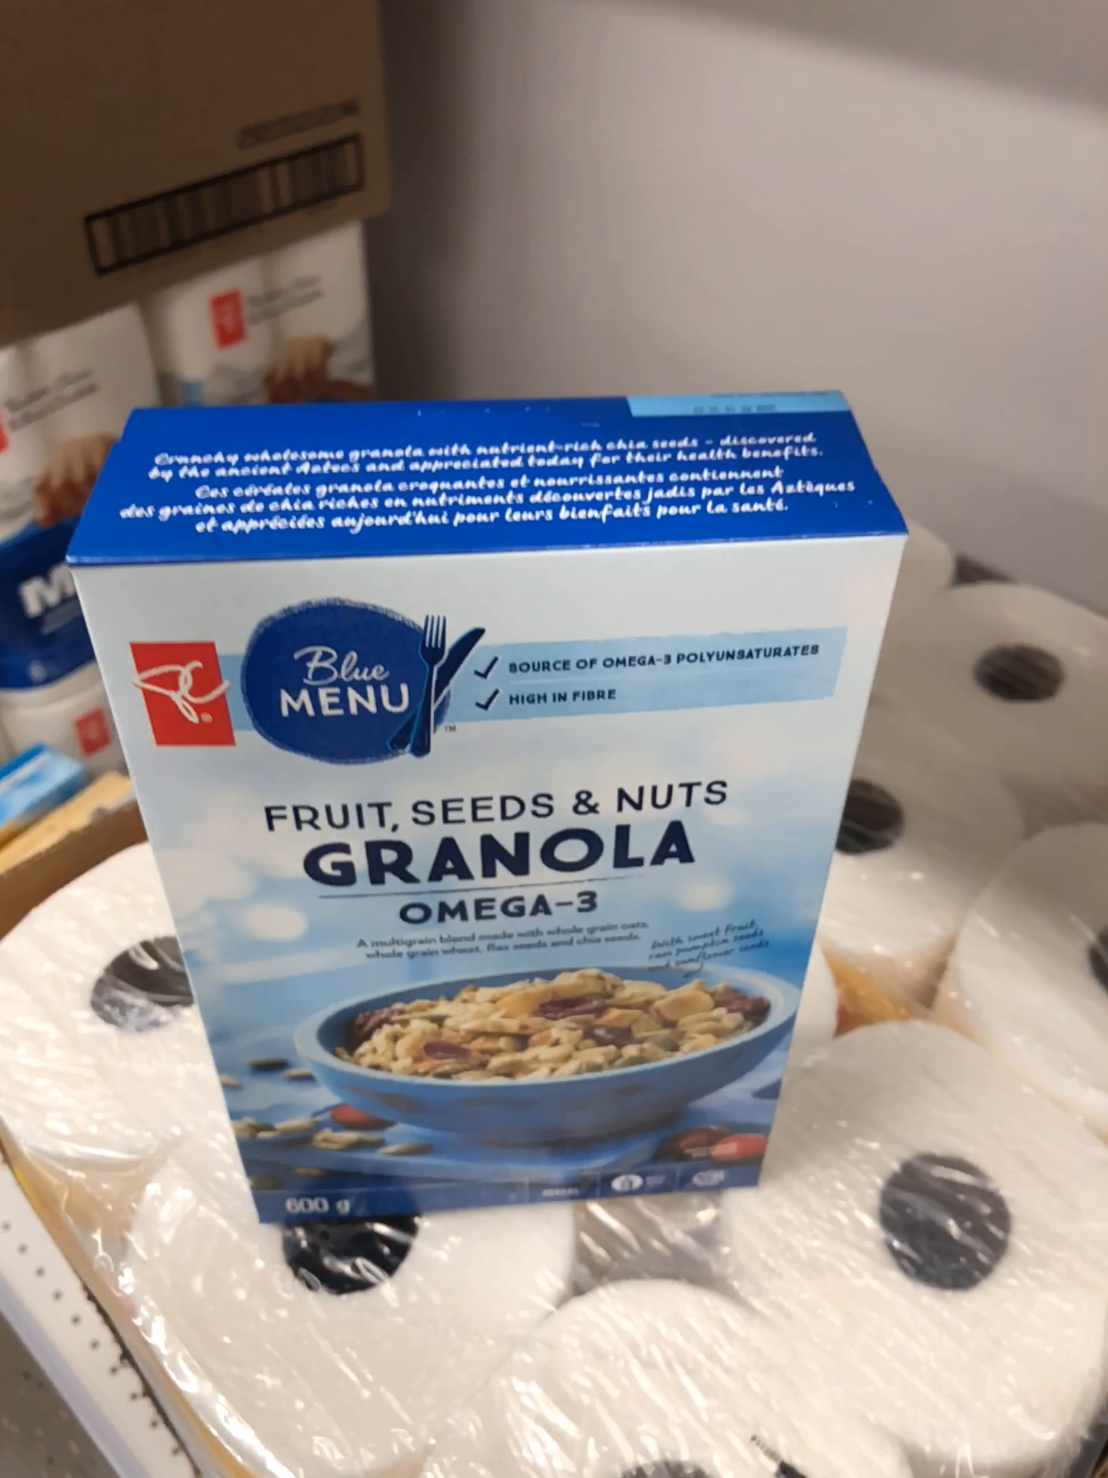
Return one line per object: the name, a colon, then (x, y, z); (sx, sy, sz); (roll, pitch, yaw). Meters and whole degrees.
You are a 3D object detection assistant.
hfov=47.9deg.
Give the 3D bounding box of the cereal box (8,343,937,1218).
cereal box: (-0.014, 0.029, 0.316); (0.160, 0.239, 0.060); (-2, 41, -2)
